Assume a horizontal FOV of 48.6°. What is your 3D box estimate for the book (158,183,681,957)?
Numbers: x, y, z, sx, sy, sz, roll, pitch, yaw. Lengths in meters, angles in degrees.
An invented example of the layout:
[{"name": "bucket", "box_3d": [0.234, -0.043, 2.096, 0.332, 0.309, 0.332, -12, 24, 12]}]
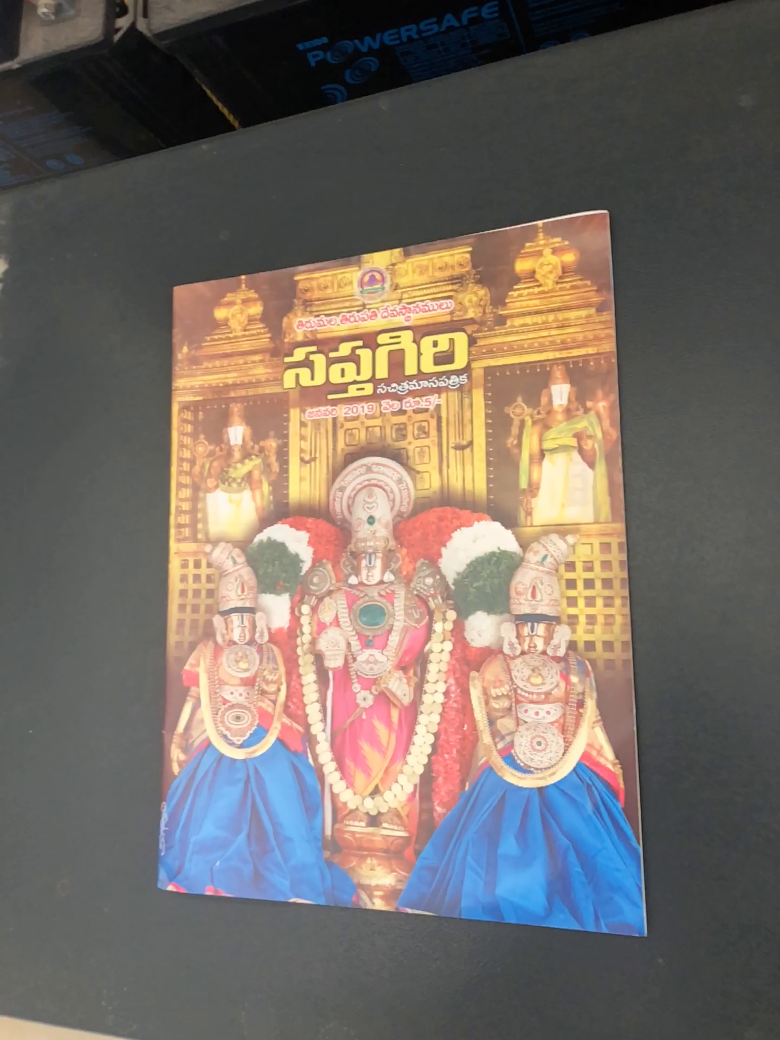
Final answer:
[{"name": "book", "box_3d": [0.003, 0.016, 0.350, 0.200, 0.030, 0.270, -4, 80, 21]}]
